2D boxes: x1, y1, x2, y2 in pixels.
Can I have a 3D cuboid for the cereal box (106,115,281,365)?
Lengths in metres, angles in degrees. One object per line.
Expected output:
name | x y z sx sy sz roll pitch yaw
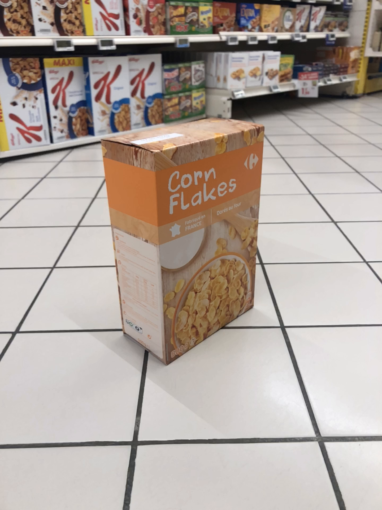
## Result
cereal box | 0.012 -0.032 0.587 0.110 0.278 0.201 22 34 39
